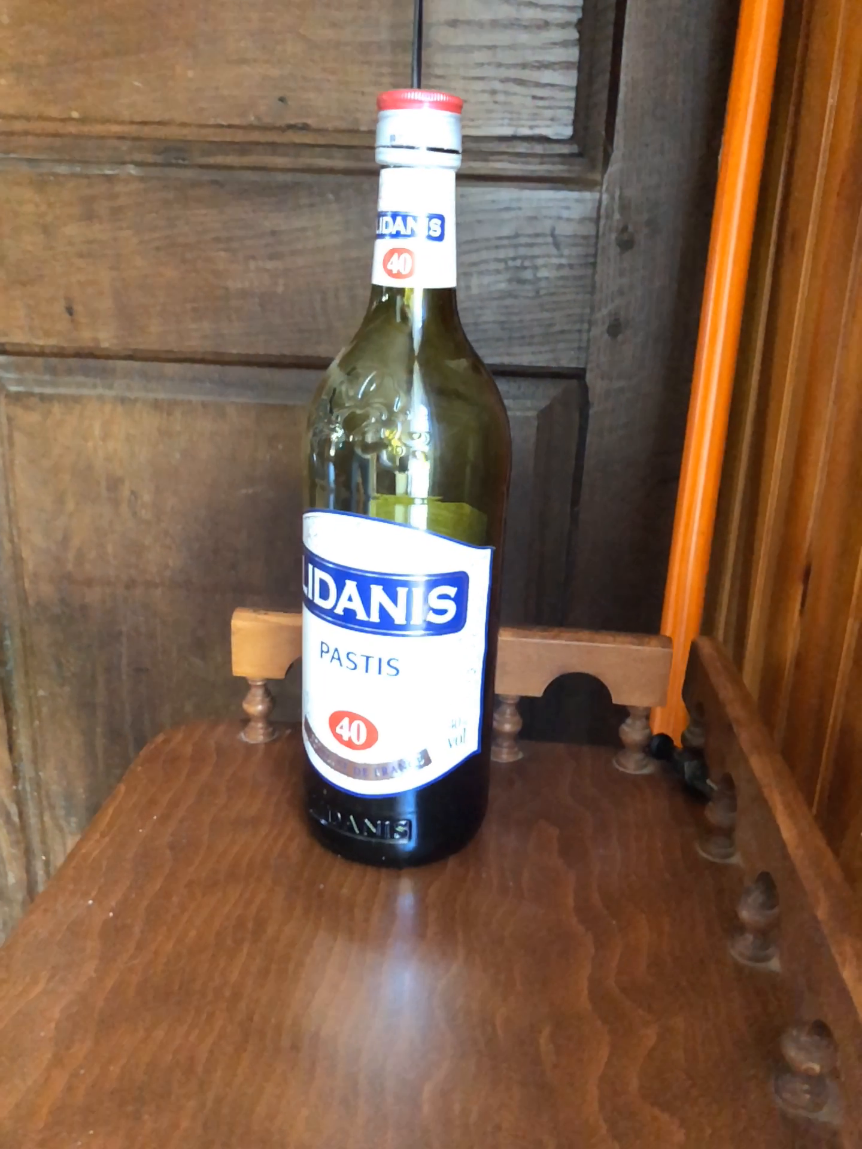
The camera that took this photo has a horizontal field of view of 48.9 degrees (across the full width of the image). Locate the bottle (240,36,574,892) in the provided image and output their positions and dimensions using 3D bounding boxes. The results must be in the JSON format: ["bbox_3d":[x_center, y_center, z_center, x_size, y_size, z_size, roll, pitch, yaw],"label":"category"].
[{"bbox_3d":[-0.010,-0.035,0.377,0.090,0.299,0.080,10,20,22],"label":"bottle"}]
